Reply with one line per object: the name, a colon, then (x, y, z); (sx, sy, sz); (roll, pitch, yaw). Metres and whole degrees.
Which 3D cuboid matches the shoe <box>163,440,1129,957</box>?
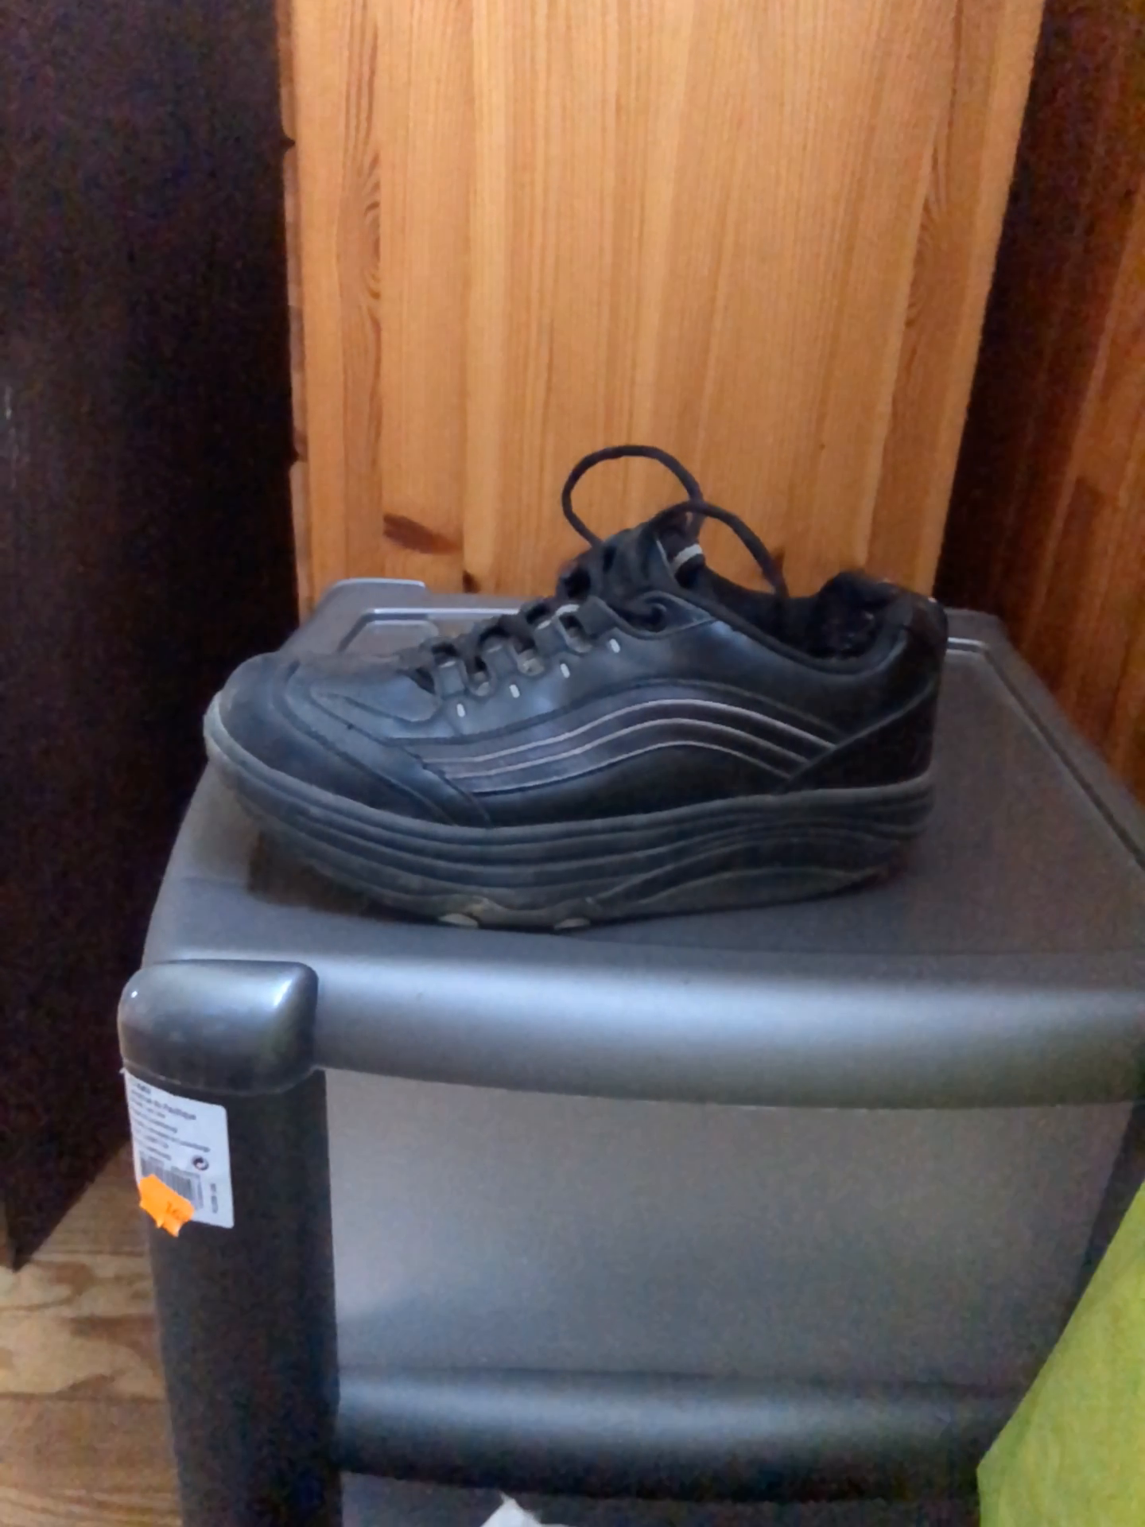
shoe: (0.016, -0.025, 0.423); (0.270, 0.129, 0.111); (0, 27, -9)
